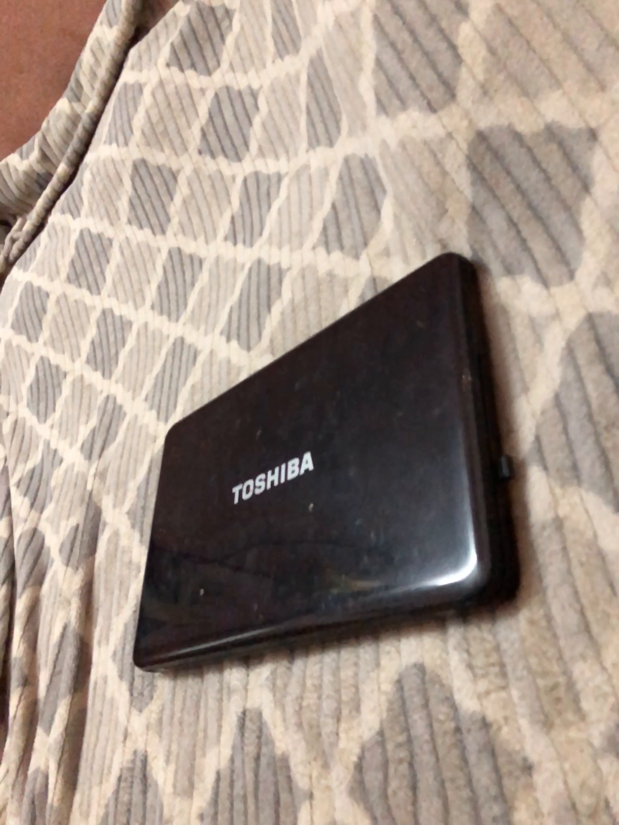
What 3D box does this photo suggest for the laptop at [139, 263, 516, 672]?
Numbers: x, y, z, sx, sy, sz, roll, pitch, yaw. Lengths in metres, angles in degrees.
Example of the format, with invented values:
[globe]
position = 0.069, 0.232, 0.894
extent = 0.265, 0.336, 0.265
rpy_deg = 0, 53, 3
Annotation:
[laptop]
position = -0.012, 0.065, 0.556
extent = 0.376, 0.023, 0.249
rpy_deg = -28, 45, 41
